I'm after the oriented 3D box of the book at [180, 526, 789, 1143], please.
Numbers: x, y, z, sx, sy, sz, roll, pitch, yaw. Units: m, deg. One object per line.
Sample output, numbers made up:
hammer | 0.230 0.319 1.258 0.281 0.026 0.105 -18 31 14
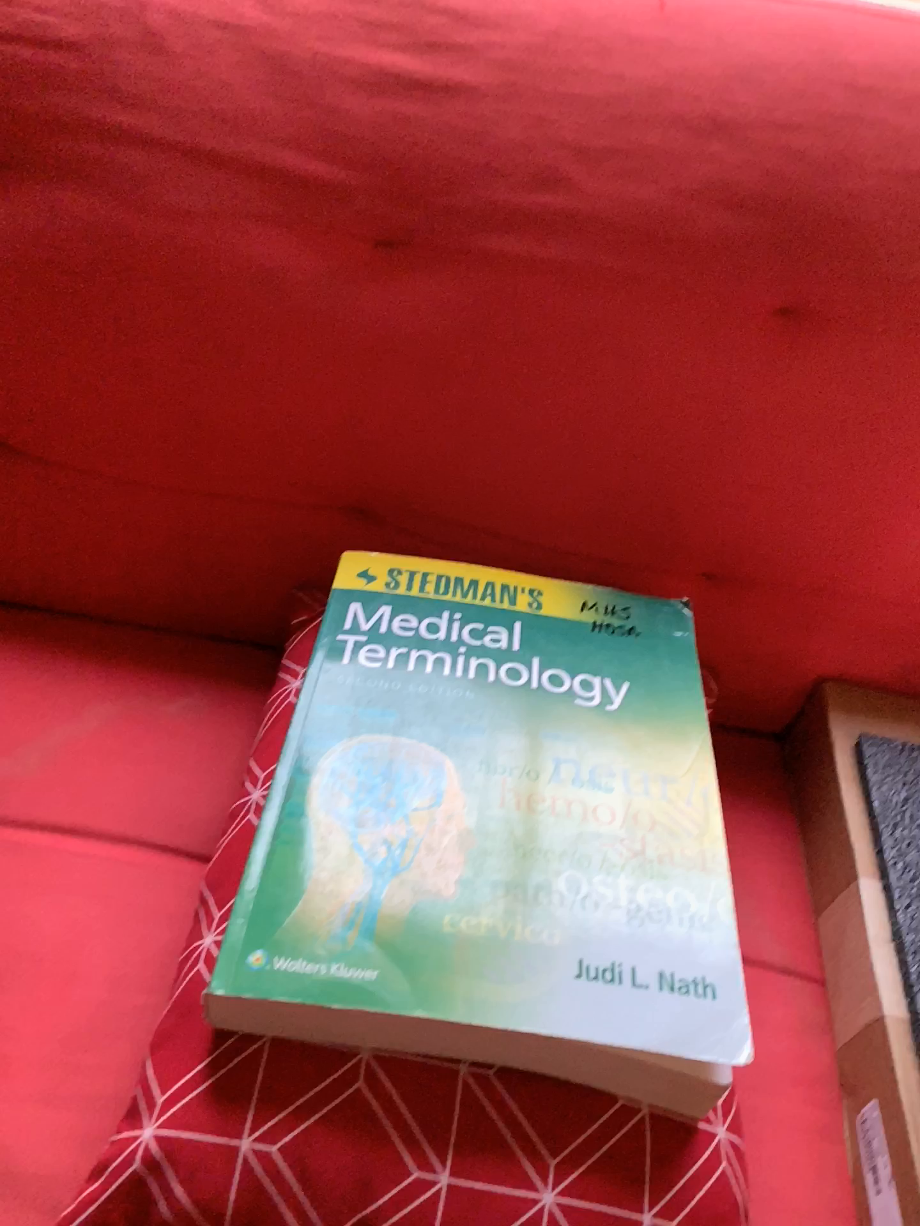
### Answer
book | 0.023 0.084 0.488 0.240 0.040 0.301 11 43 -2
